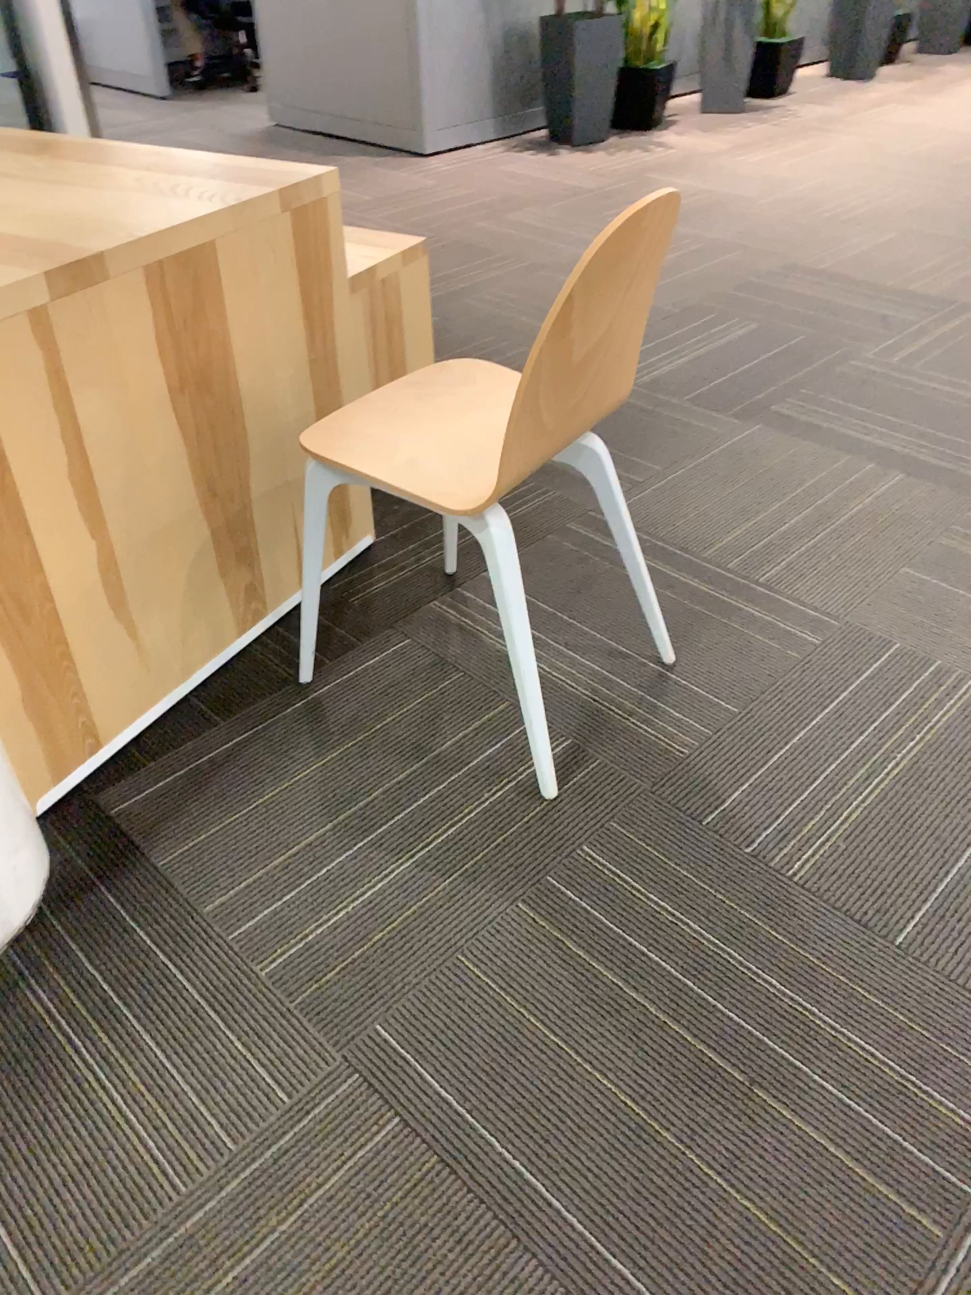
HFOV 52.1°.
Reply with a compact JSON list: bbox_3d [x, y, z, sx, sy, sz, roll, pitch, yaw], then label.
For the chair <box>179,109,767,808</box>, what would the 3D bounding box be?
[{"bbox_3d":[-0.003,-0.303,1.513,0.582,0.805,0.481,22,43,27],"label":"chair"}]
